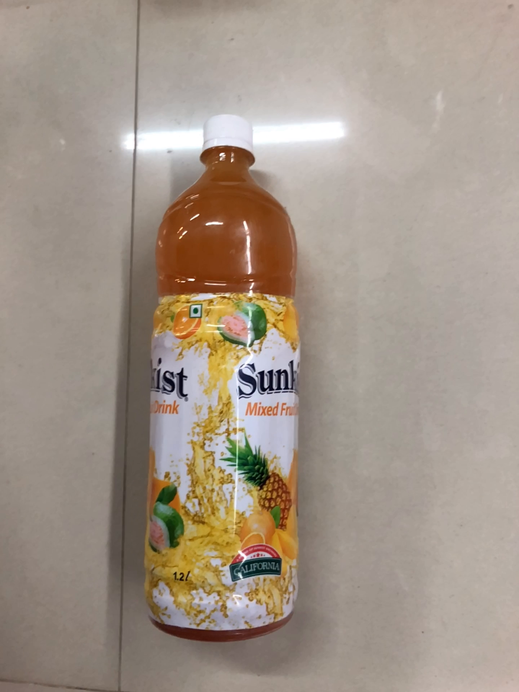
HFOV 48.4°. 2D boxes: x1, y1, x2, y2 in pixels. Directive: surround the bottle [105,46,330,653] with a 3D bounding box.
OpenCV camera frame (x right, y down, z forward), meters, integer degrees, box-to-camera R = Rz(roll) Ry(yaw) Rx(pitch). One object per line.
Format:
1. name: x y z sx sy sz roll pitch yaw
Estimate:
1. bottle: -0.015 -0.003 0.322 0.100 0.080 0.290 1 84 9
